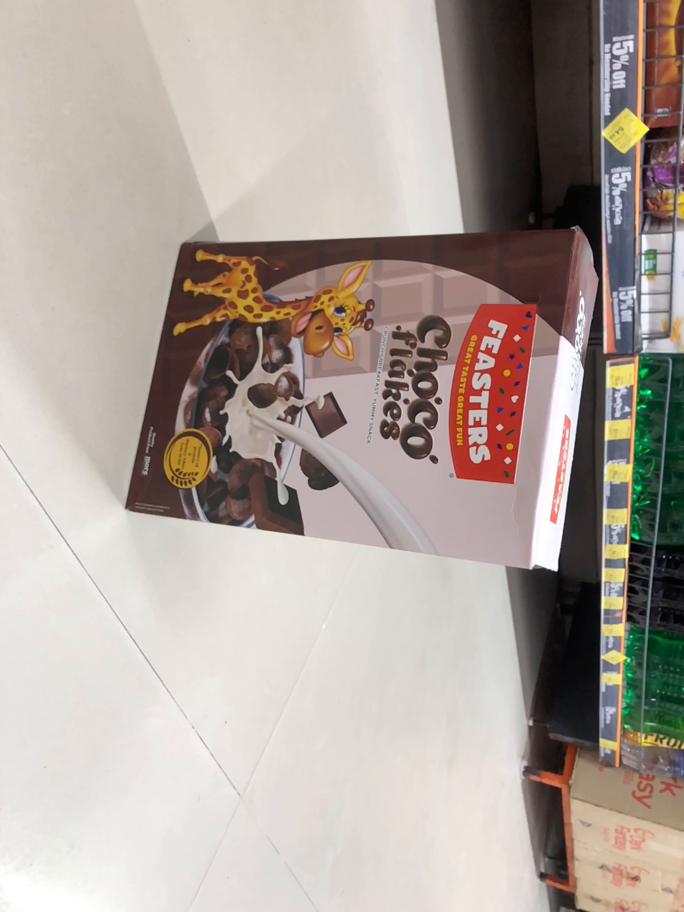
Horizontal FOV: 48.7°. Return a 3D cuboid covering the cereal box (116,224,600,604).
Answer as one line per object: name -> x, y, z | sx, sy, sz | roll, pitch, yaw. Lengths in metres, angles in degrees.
cereal box -> 0.005, -0.032, 0.463 | 0.050, 0.268, 0.200 | 29, 69, -65
